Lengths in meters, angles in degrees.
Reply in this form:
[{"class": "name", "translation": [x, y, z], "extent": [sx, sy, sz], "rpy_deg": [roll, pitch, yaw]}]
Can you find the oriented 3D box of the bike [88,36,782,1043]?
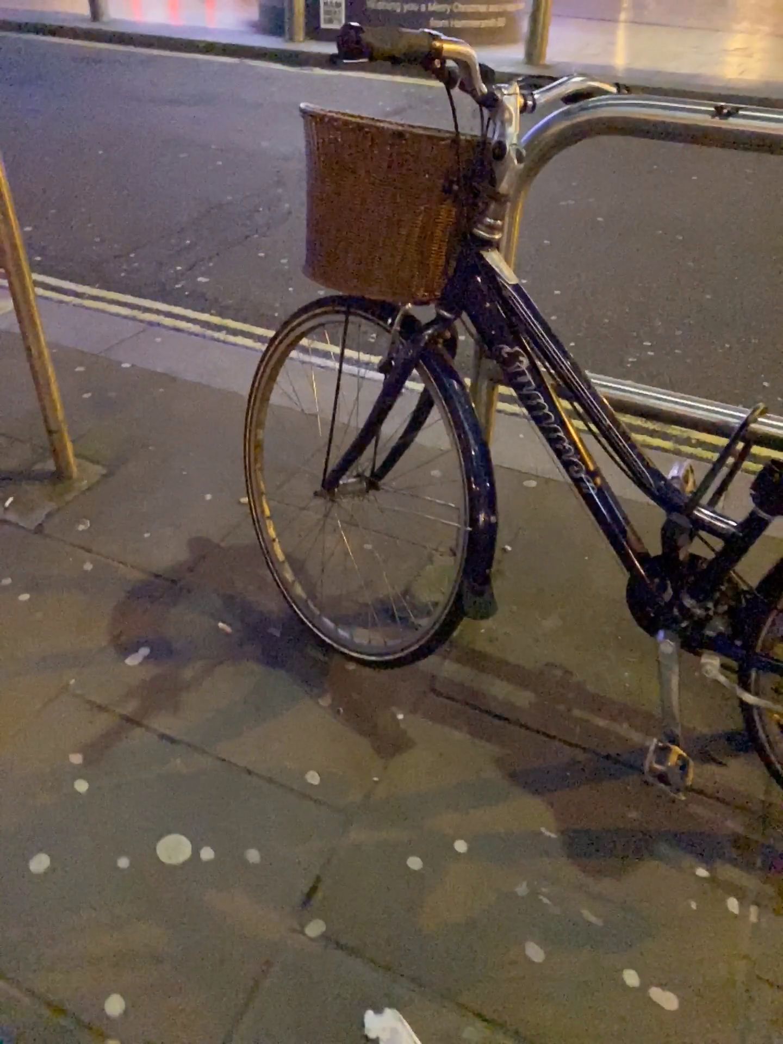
[{"class": "bike", "translation": [0.468, -0.075, 1.246], "extent": [1.712, 1.063, 0.663], "rpy_deg": [20, 41, 25]}]
